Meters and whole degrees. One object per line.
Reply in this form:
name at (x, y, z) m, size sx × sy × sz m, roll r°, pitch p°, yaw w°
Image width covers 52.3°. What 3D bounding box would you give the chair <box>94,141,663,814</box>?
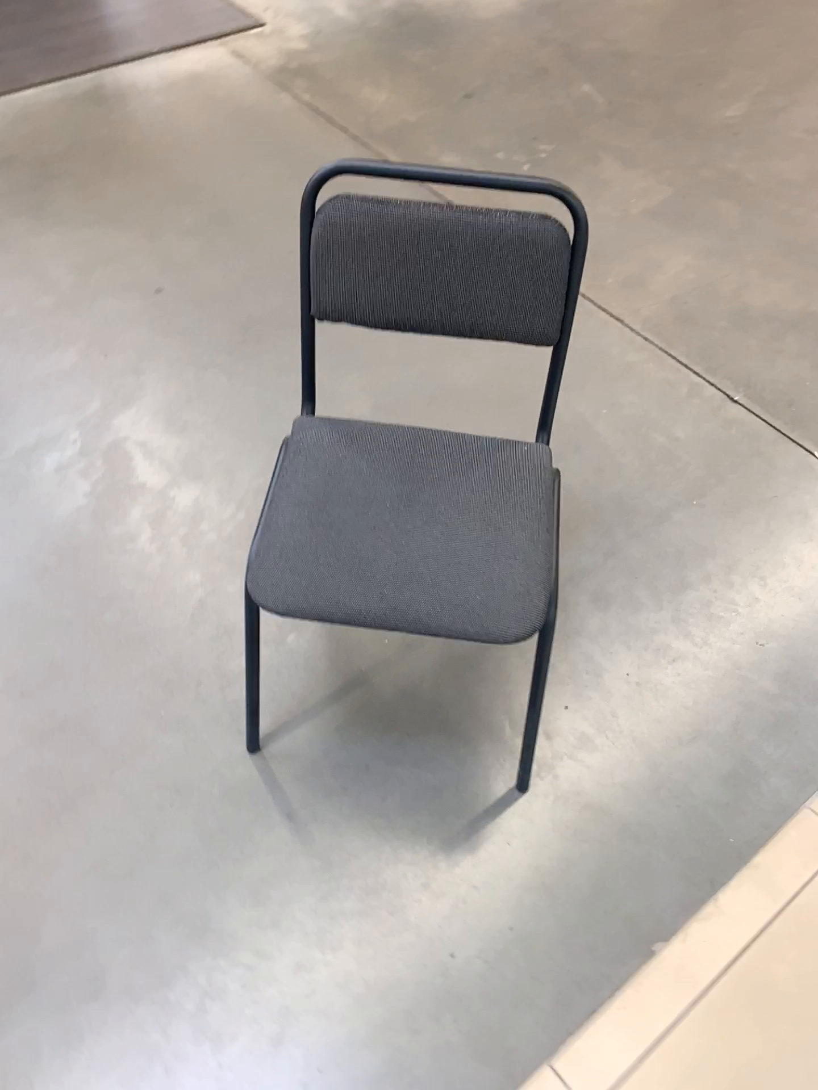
chair at (-0.001, -0.073, 1.277) m, size 0.550 × 0.738 × 0.632 m, roll 8°, pitch 52°, yaw 4°
